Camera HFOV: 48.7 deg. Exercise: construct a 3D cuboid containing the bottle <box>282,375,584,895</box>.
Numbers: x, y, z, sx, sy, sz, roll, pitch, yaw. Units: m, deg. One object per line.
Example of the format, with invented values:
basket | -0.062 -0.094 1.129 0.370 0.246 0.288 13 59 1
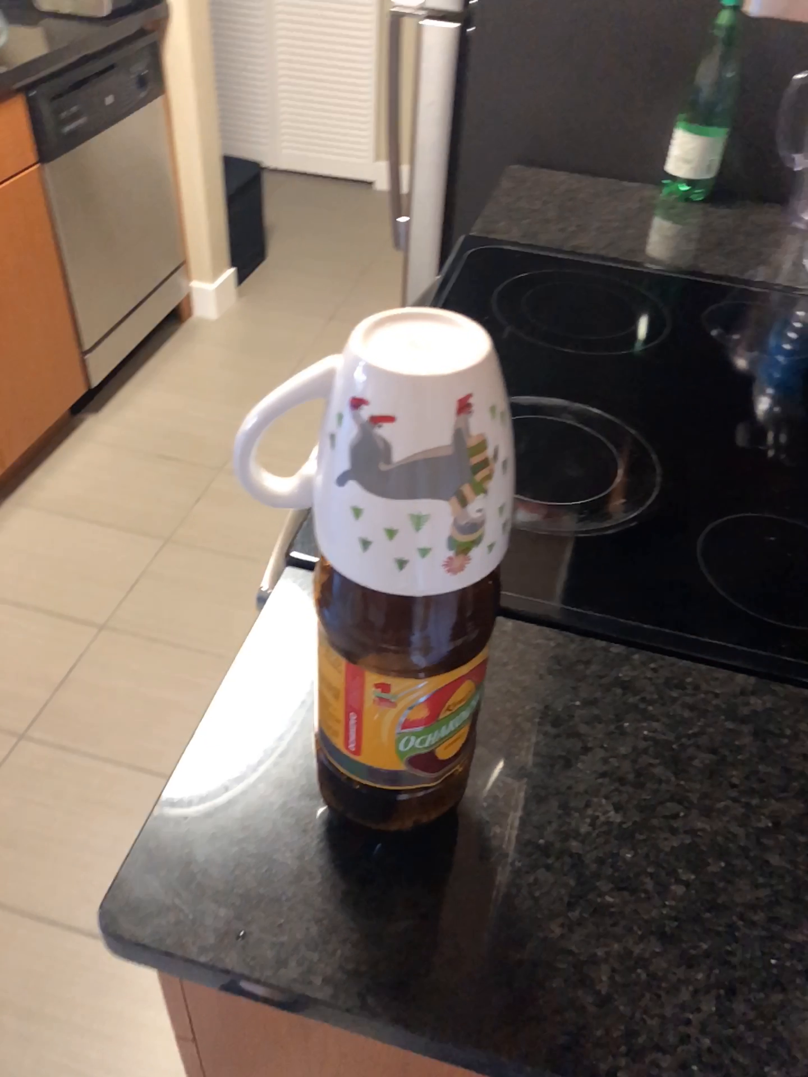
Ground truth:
bottle | 0.005 0.066 0.508 0.100 0.279 0.100 3 41 -2
